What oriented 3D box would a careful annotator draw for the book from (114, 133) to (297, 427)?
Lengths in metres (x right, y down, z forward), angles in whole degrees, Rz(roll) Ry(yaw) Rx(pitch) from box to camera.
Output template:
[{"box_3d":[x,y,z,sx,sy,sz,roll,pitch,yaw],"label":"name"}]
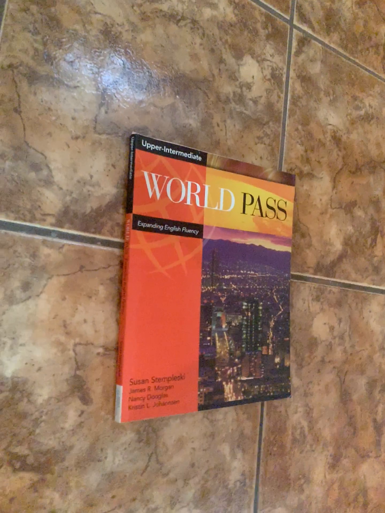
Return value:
[{"box_3d":[0.029,0.026,0.427,0.220,0.016,0.271,5,84,-31],"label":"book"}]
